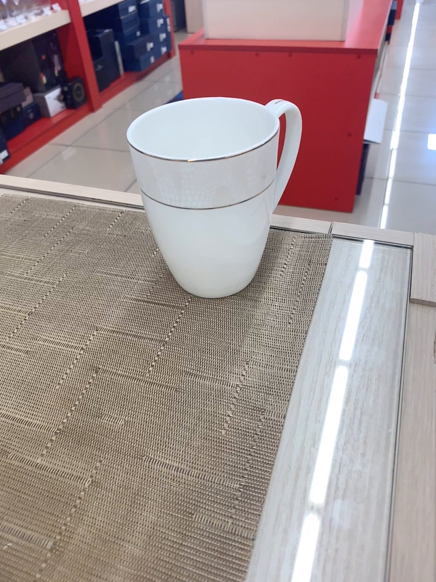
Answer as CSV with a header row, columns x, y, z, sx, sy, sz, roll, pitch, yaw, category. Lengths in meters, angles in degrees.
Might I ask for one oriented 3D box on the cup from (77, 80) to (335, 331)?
x,y,z,sx,sy,sz,roll,pitch,yaw,category
-0.005,-0.062,0.294,0.120,0.100,0.090,-28,46,-25,cup
